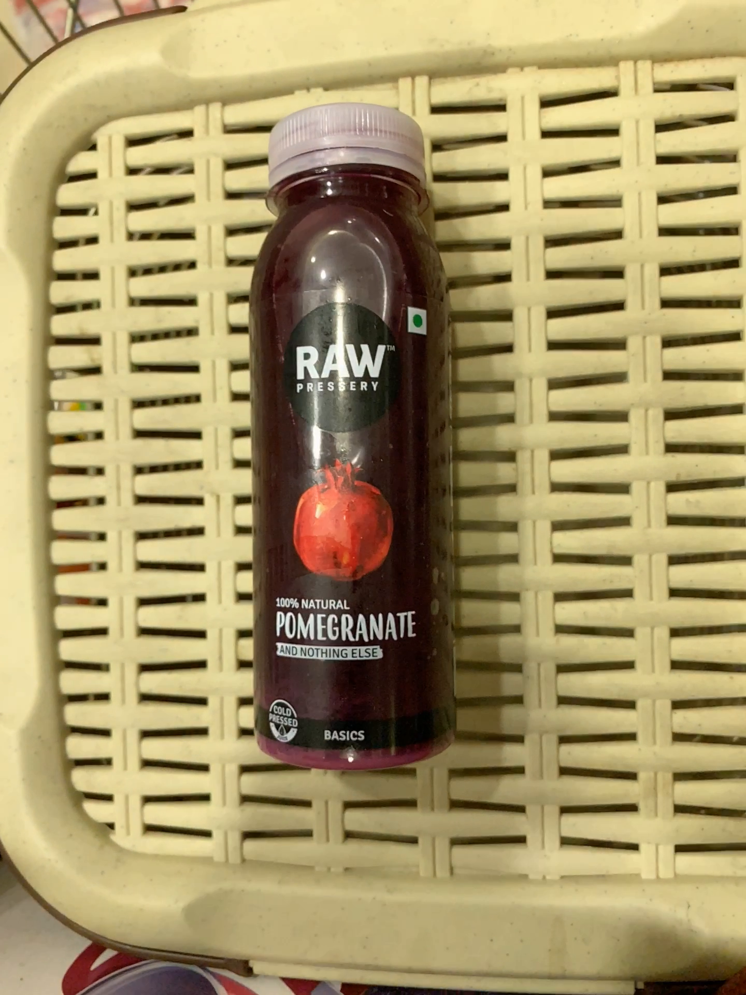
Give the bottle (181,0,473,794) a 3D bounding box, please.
[{"bbox_3d":[-0.007,-0.021,0.184,0.060,0.050,0.160,0,91,6],"label":"bottle"}]
